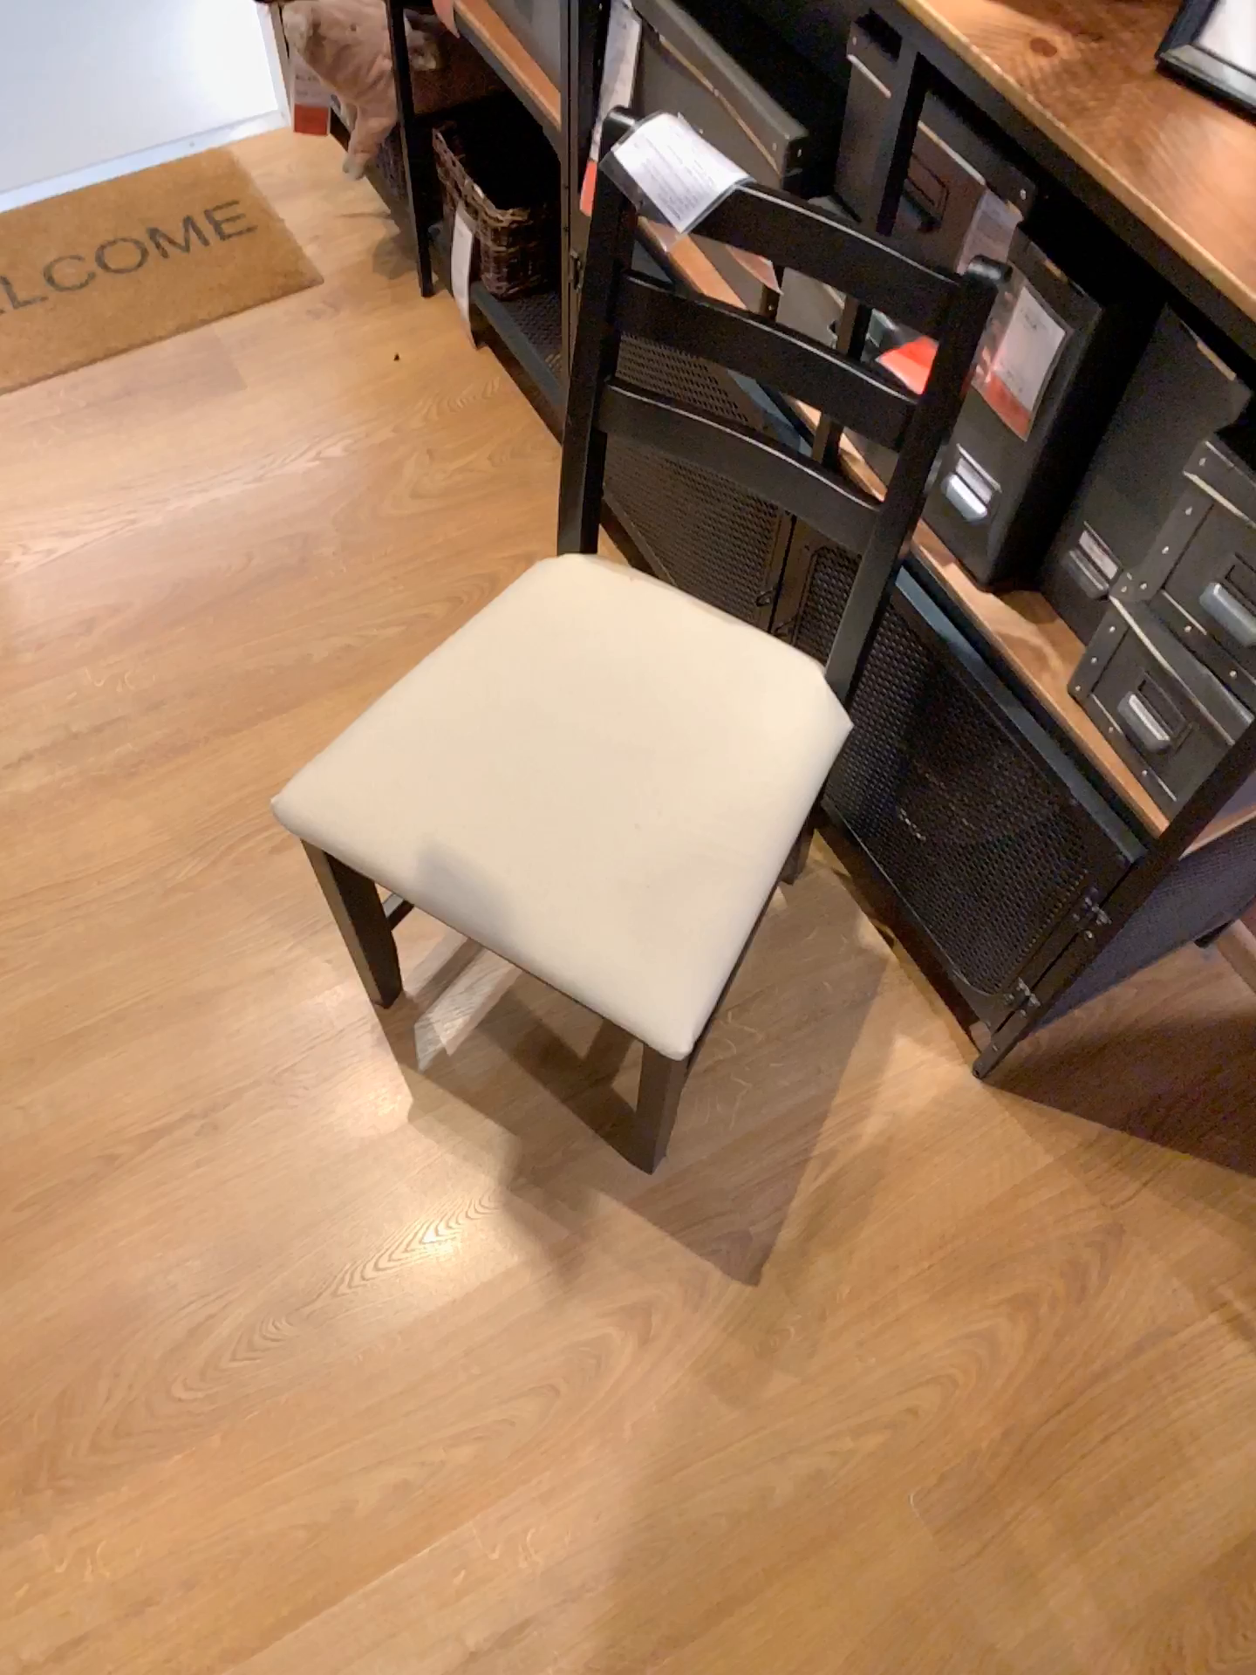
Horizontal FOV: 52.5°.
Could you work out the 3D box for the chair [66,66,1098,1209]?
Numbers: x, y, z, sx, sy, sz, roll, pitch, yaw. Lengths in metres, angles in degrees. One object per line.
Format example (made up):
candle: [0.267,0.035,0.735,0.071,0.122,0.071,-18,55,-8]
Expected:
chair: [-0.013,-0.102,1.142,0.430,0.769,0.541,29,64,13]
